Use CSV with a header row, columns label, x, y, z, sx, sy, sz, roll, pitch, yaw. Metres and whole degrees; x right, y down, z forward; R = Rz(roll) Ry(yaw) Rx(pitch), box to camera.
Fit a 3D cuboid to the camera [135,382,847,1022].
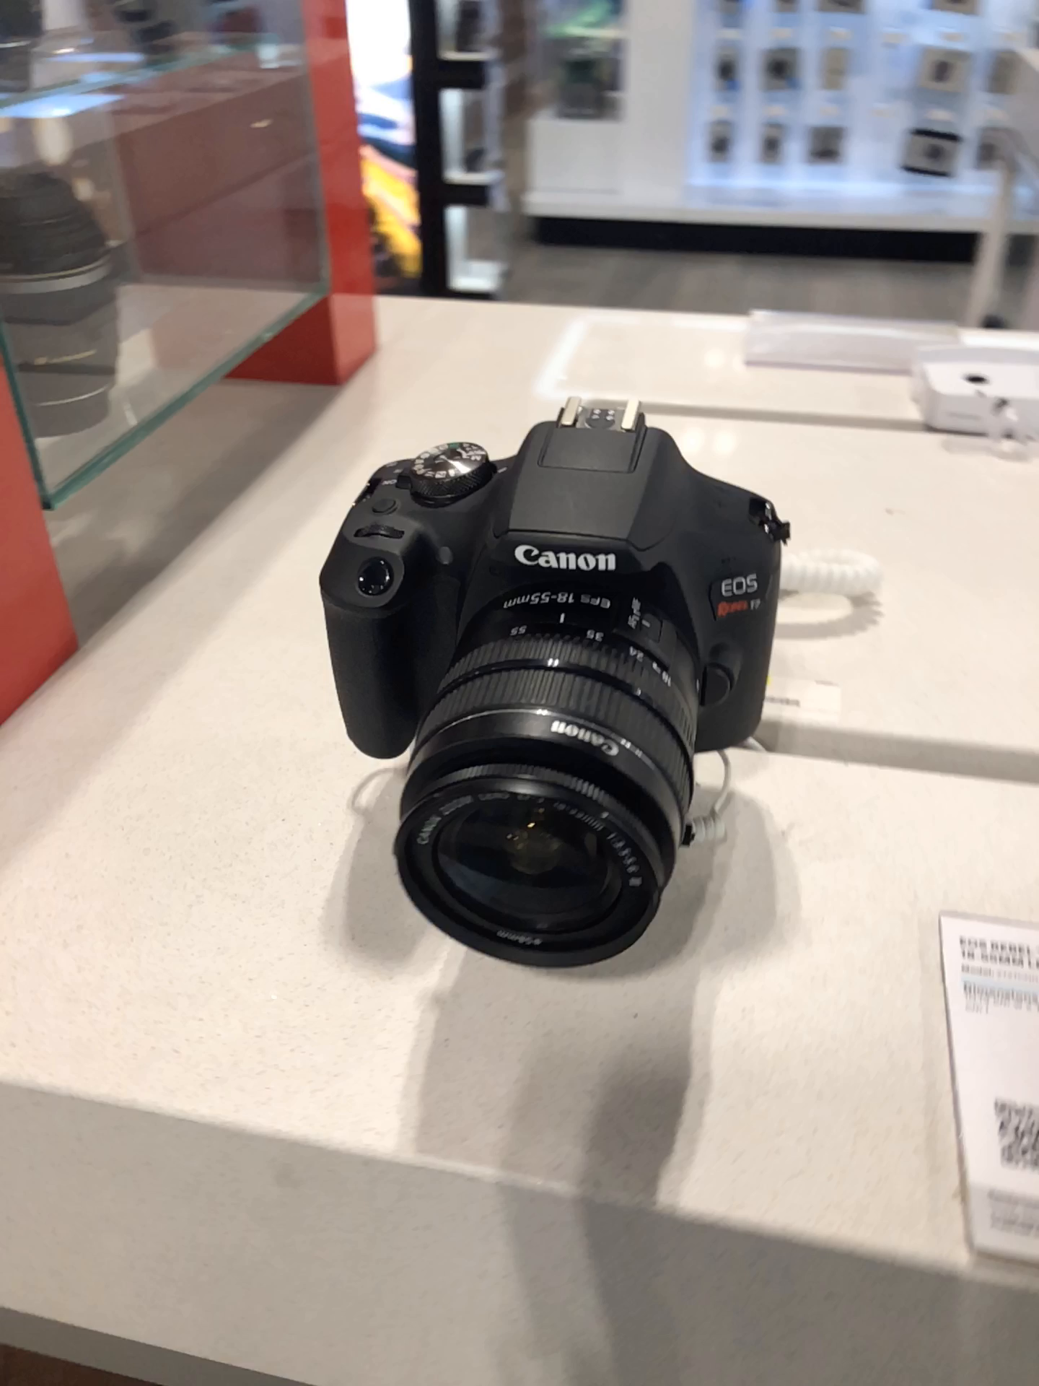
label,x,y,z,sx,sy,sz,roll,pitch,yaw
camera,0.005,-0.011,0.307,0.140,0.089,0.151,5,35,9
